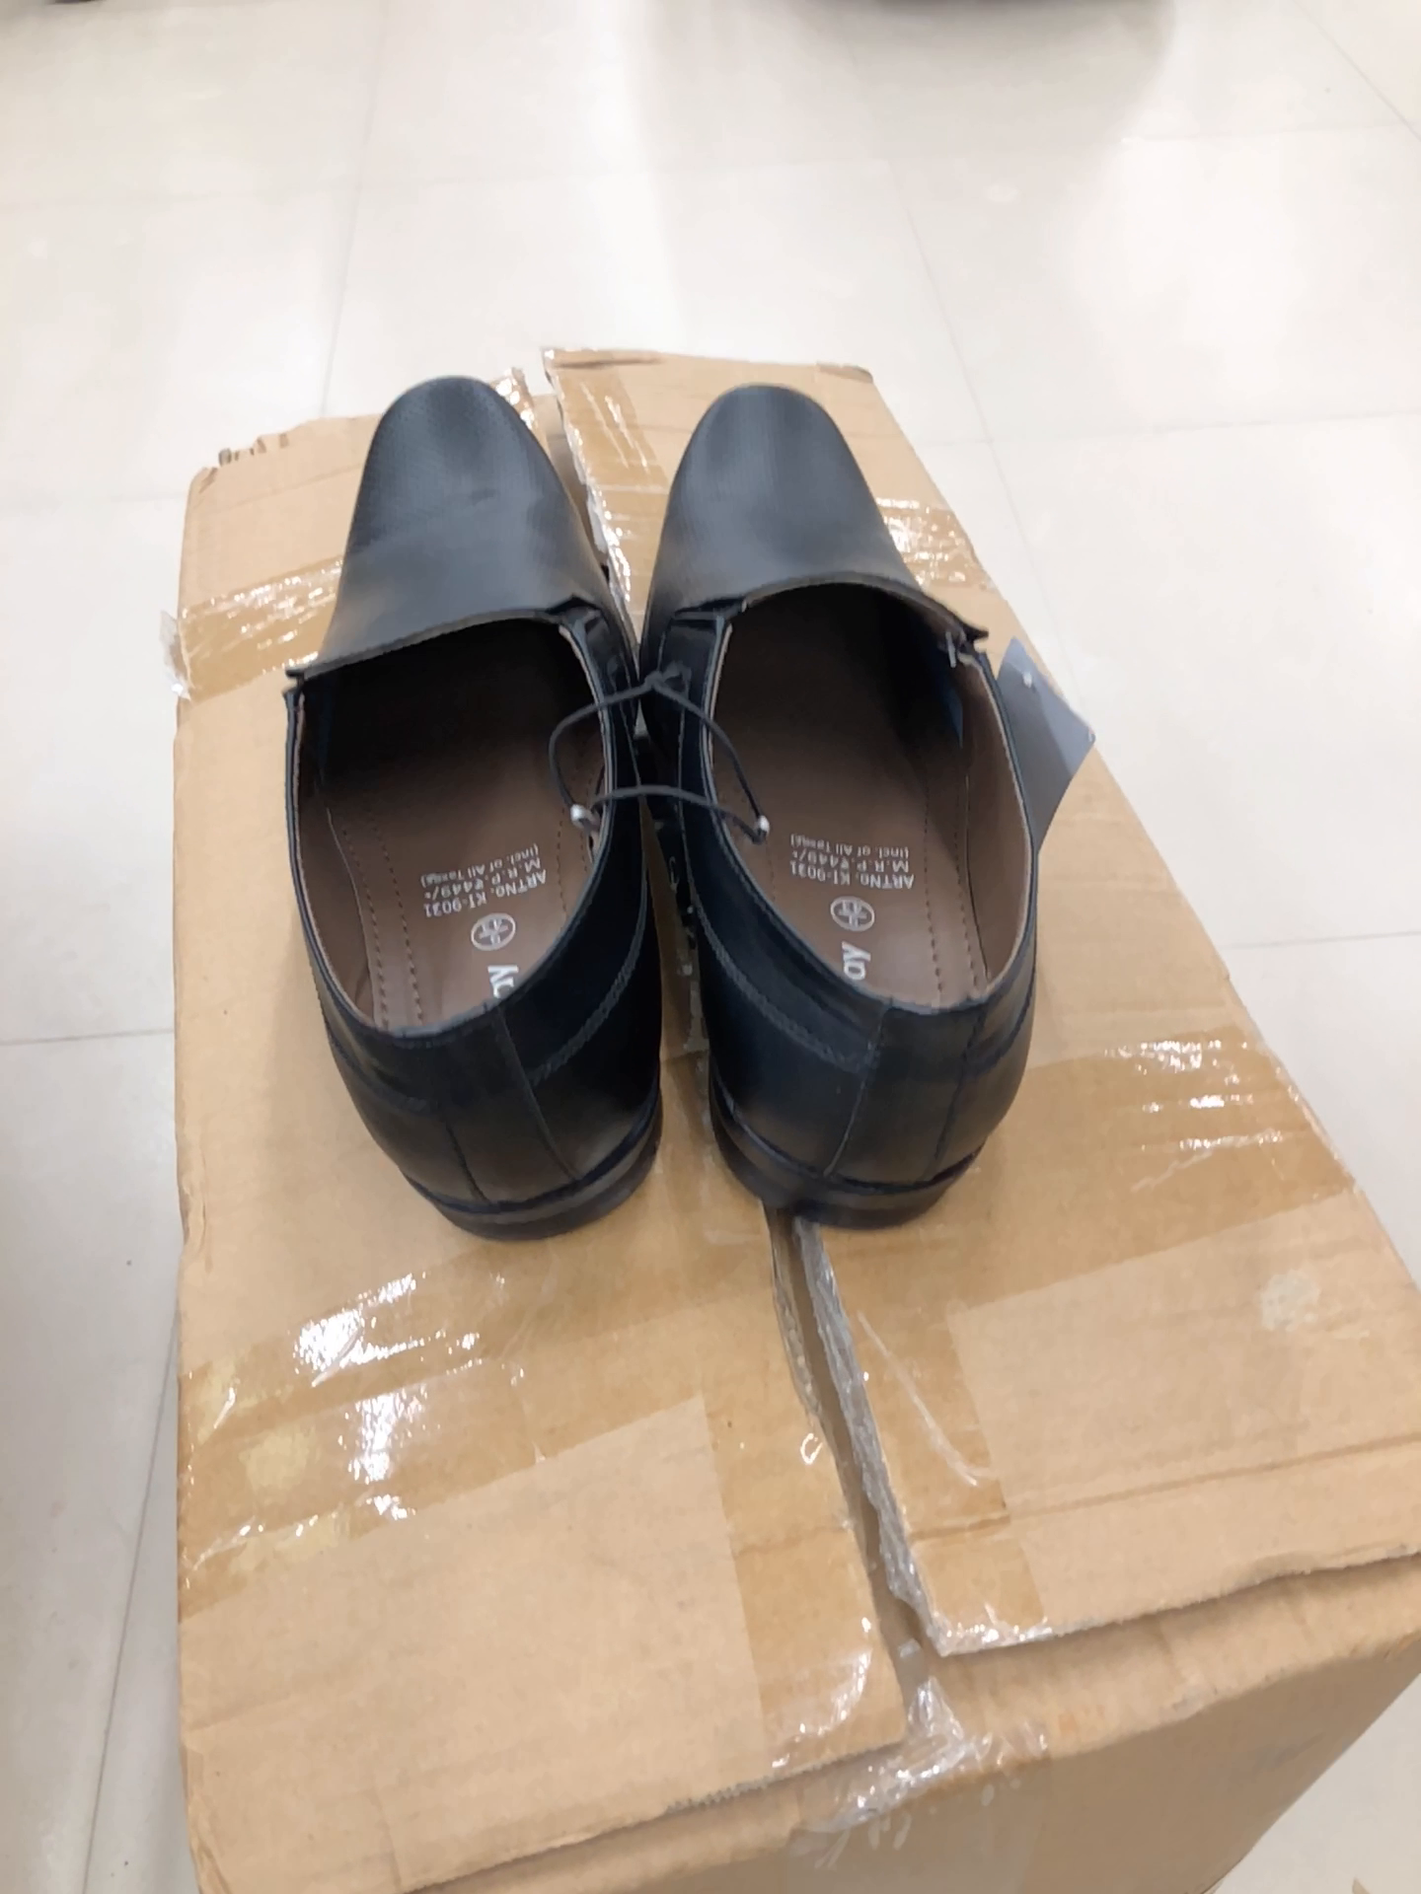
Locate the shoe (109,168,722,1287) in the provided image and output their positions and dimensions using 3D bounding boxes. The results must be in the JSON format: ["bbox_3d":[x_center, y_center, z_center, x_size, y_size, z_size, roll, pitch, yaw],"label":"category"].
[{"bbox_3d":[-0.075,-0.083,0.425,0.100,0.099,0.322,-11,49,0],"label":"shoe"}]

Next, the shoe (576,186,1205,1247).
[{"bbox_3d":[0.022,-0.088,0.429,0.100,0.099,0.322,-3,49,-6],"label":"shoe"}]
